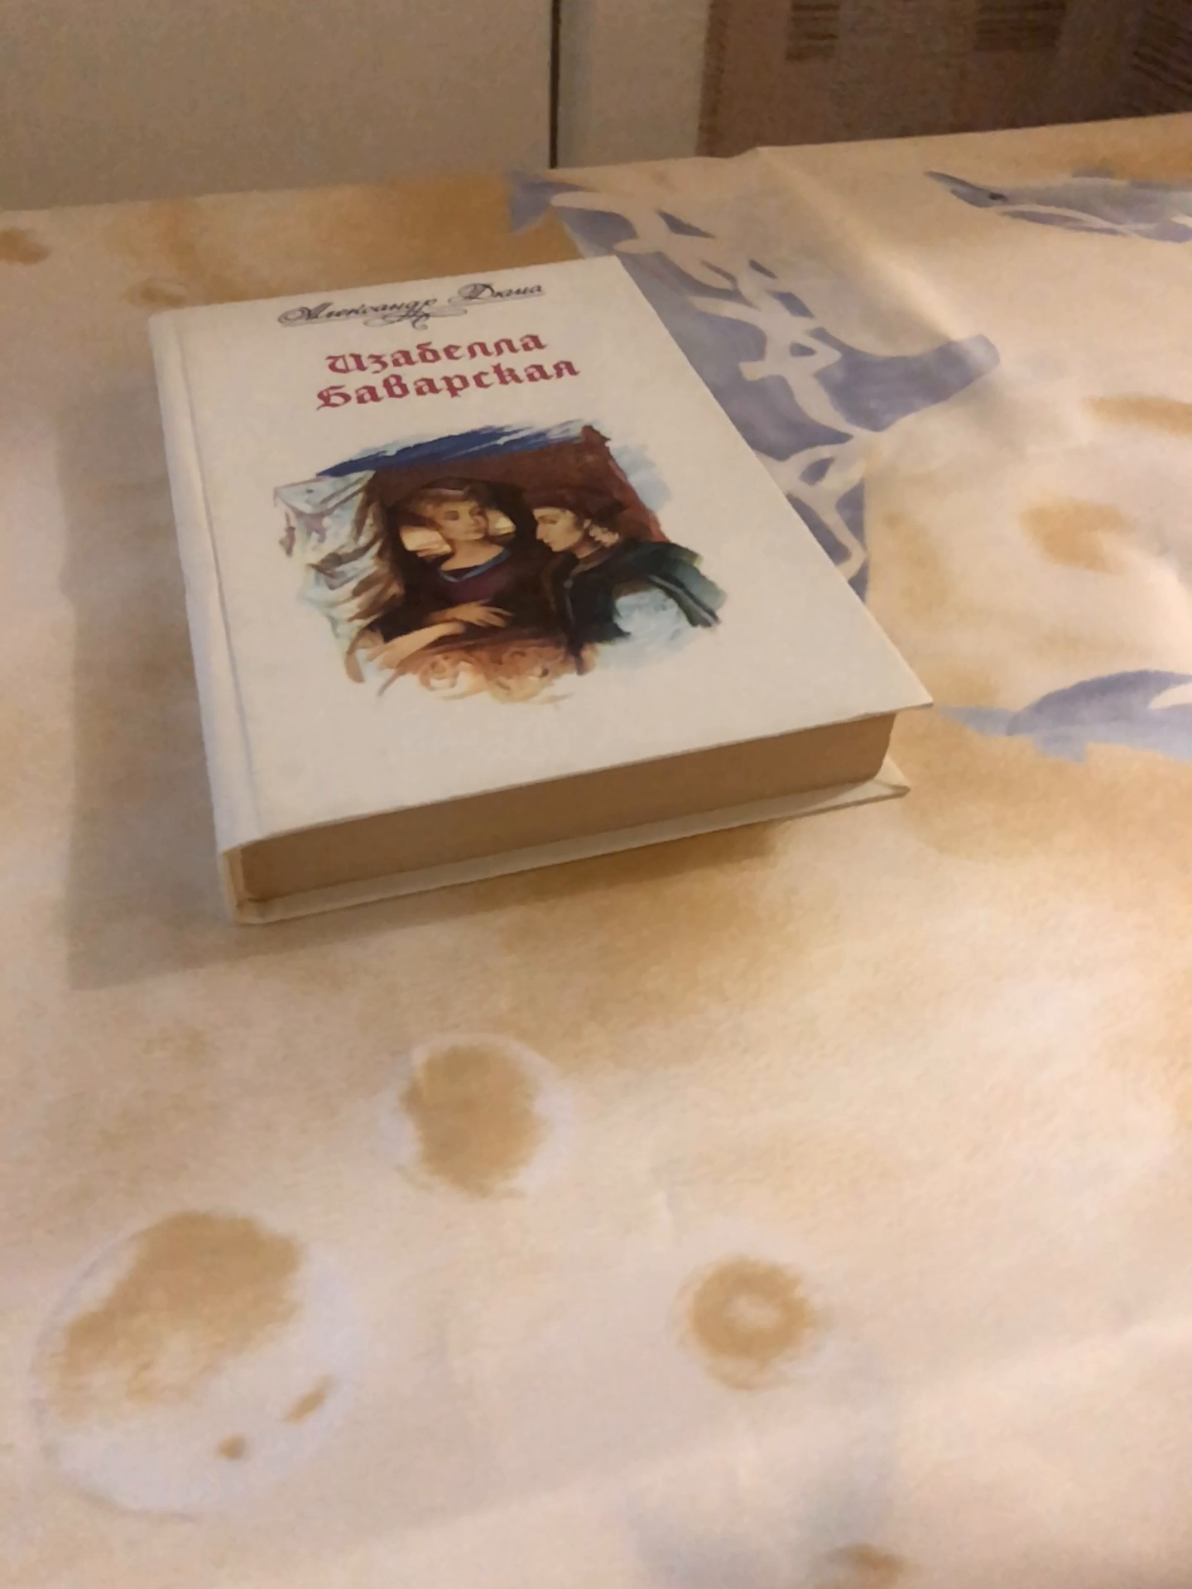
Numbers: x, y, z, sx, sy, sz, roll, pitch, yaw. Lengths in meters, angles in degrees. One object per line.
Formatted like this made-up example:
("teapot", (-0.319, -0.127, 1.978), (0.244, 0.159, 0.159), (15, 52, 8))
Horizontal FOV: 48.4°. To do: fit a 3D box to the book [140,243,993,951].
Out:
("book", (-0.025, -0.067, 0.309), (0.139, 0.026, 0.209), (-12, 46, -13))
